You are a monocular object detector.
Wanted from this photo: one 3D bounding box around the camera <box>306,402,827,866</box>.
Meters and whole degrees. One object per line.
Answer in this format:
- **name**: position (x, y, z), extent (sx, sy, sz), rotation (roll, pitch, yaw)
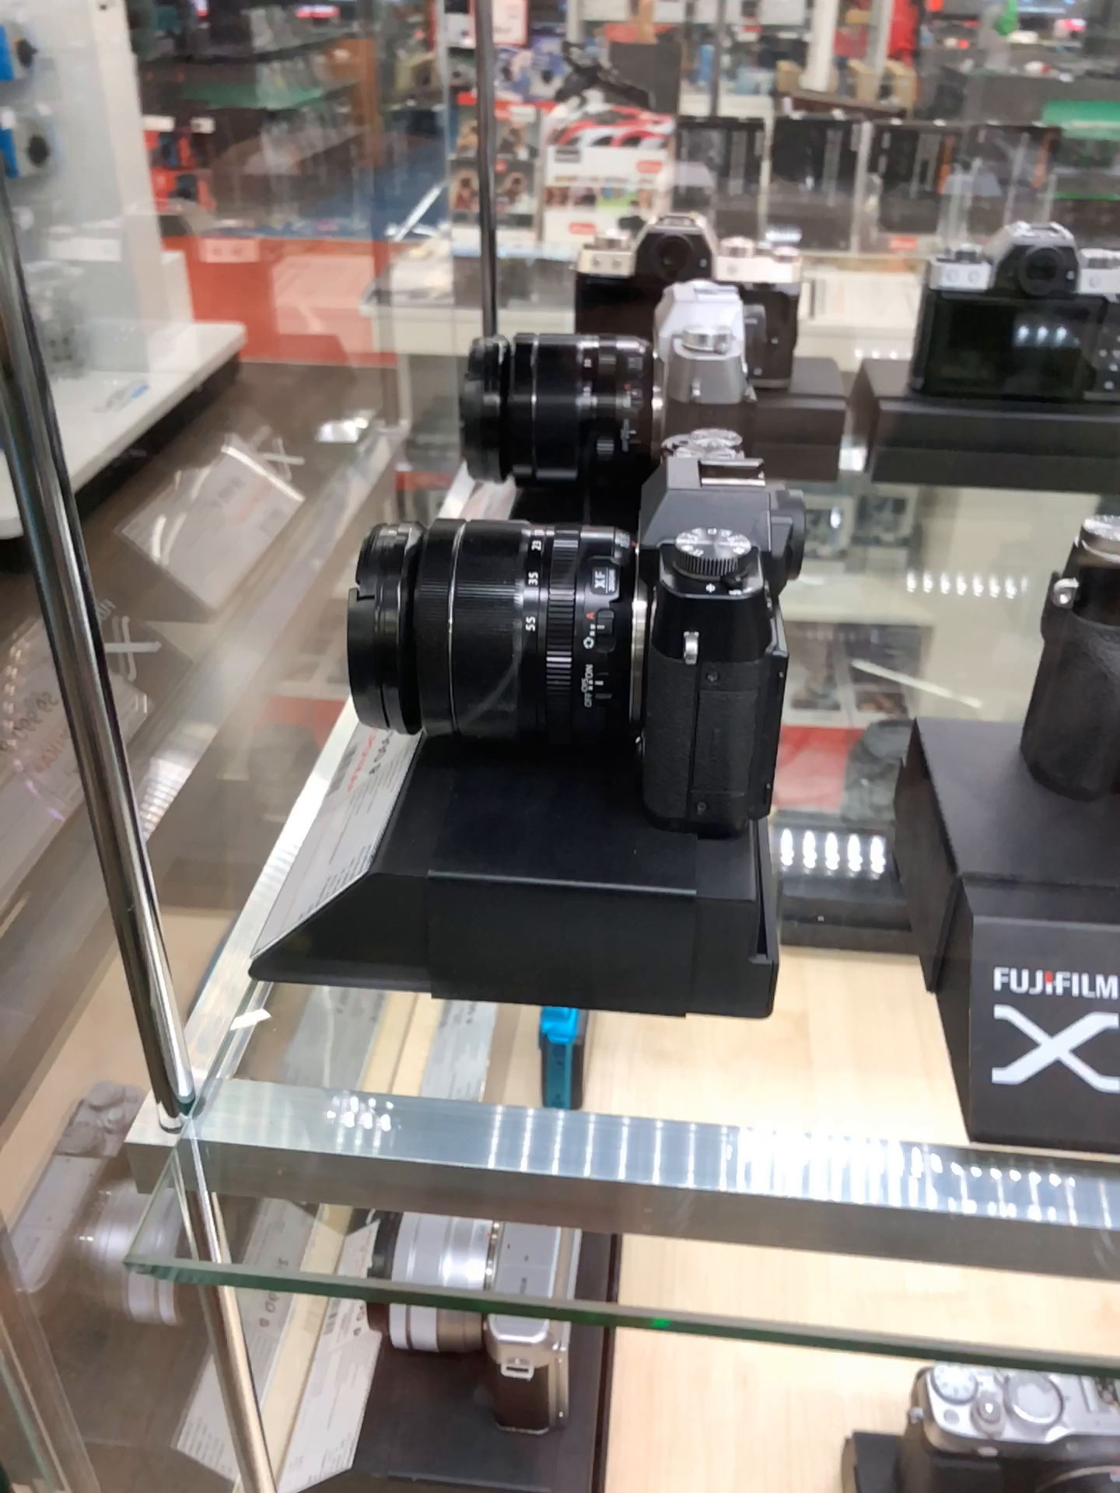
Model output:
- **camera**: position (0.005, -0.039, 0.360), extent (0.121, 0.081, 0.121), rotation (4, 32, 4)
